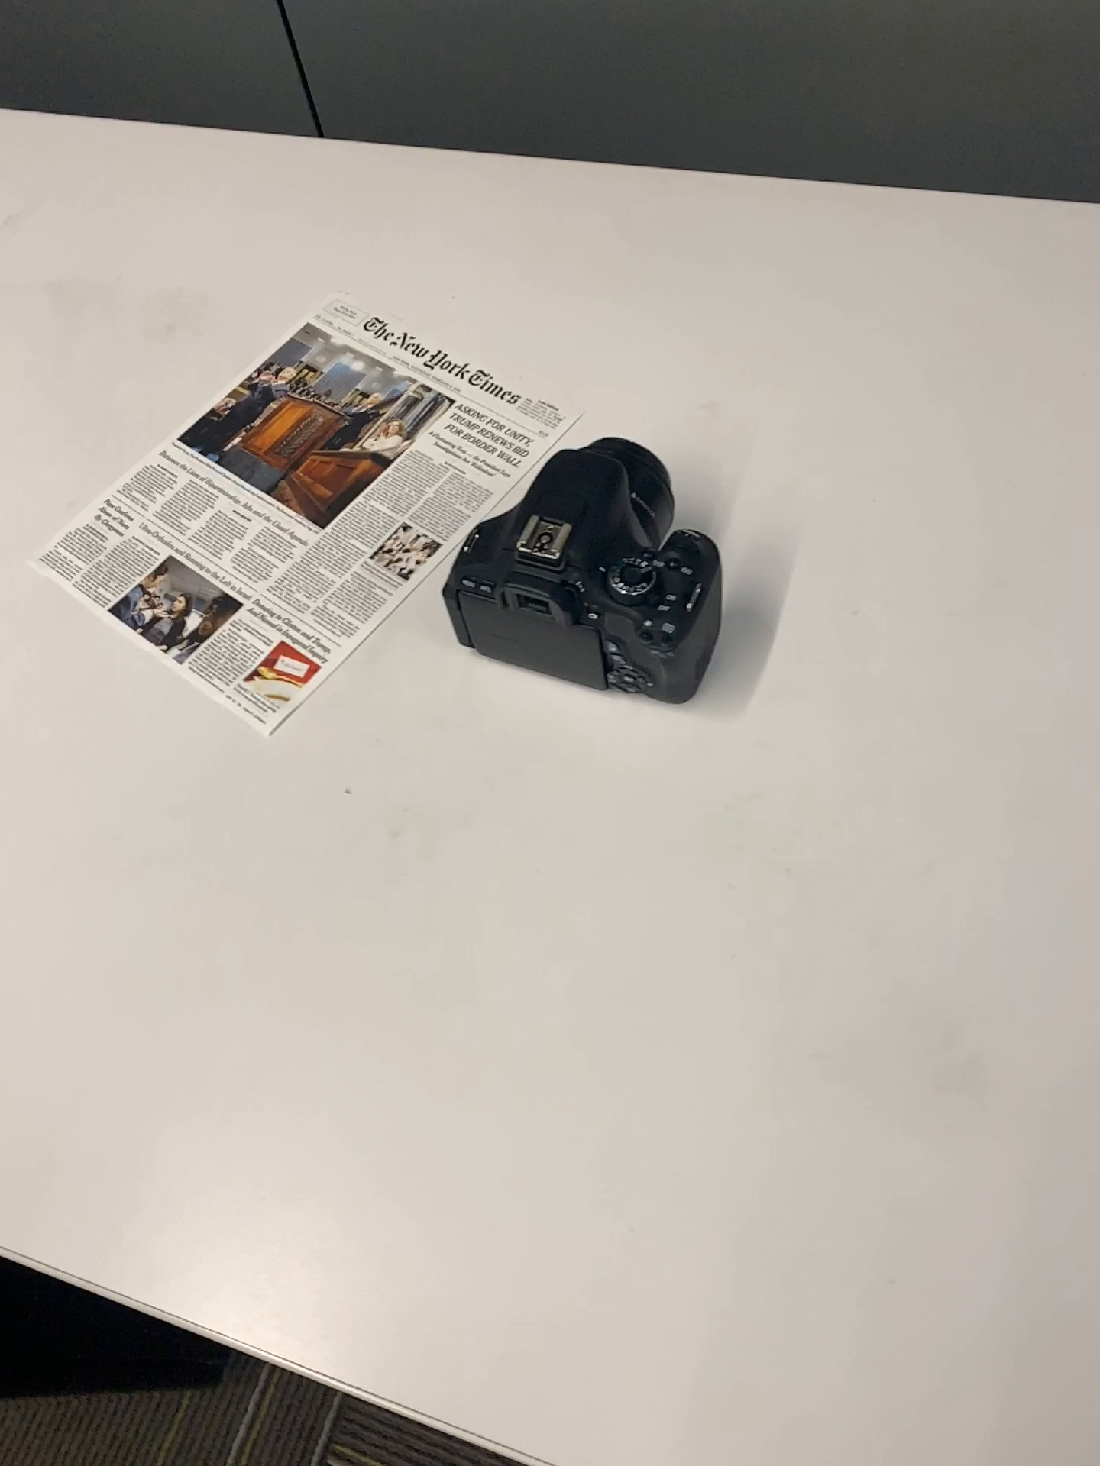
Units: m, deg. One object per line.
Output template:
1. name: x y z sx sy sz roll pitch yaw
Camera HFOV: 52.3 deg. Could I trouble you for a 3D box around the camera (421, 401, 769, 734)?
1. camera: 0.027 -0.086 0.578 0.137 0.090 0.109 17 65 17
